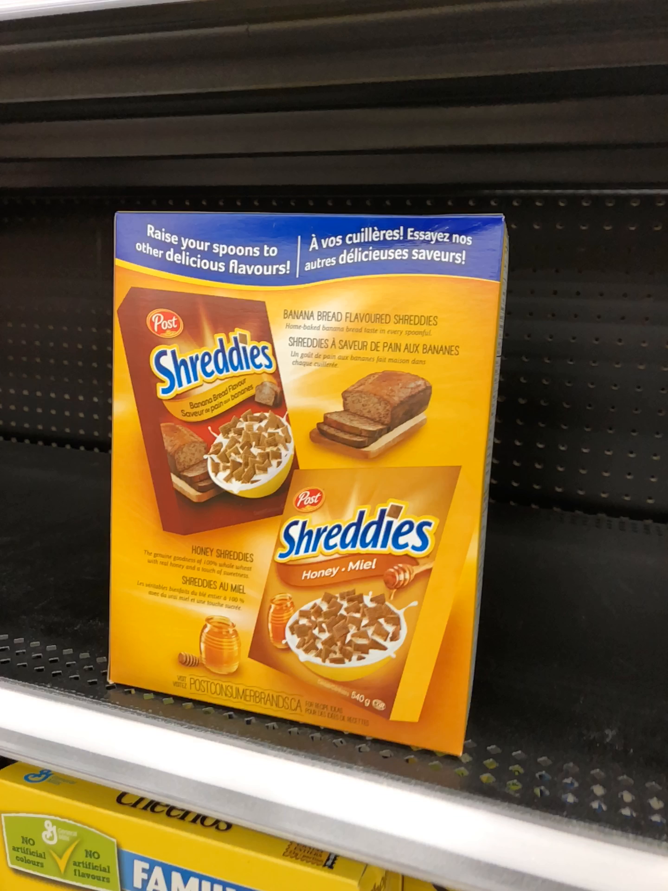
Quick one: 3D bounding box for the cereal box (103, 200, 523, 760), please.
[{"bbox_3d":[-0.017,0.009,0.409,0.210,0.269,0.060,5,8,16],"label":"cereal box"}]
